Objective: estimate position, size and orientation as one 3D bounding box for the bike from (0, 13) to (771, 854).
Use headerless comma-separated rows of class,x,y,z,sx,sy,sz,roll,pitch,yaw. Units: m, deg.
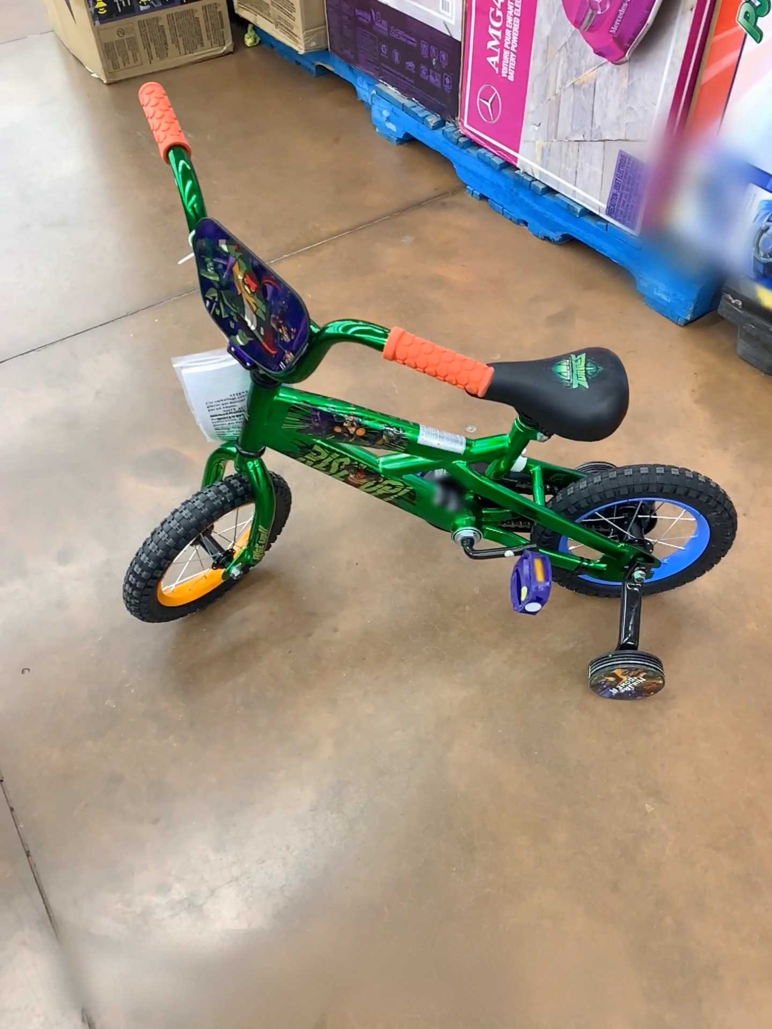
bike,0.095,-0.054,0.891,0.850,0.732,0.491,-5,50,-7
